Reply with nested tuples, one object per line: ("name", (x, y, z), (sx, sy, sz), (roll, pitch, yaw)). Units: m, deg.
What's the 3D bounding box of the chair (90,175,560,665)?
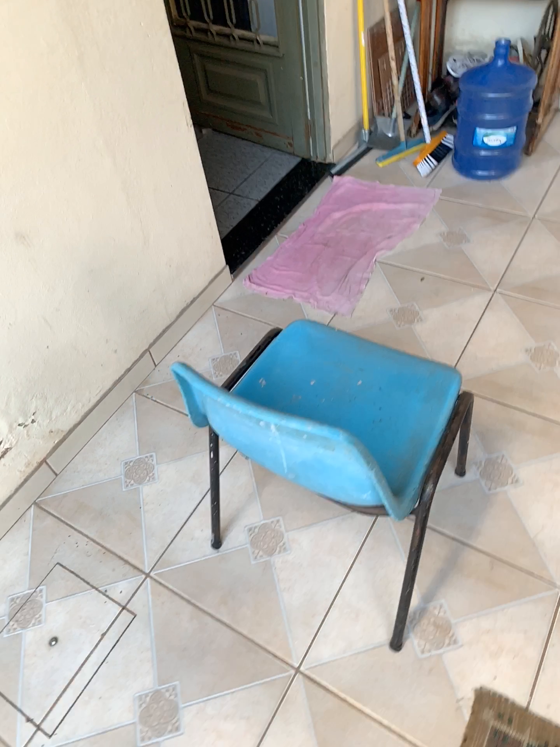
("chair", (0.118, 0.098, 1.153), (0.551, 0.687, 0.531), (21, 56, 24))
